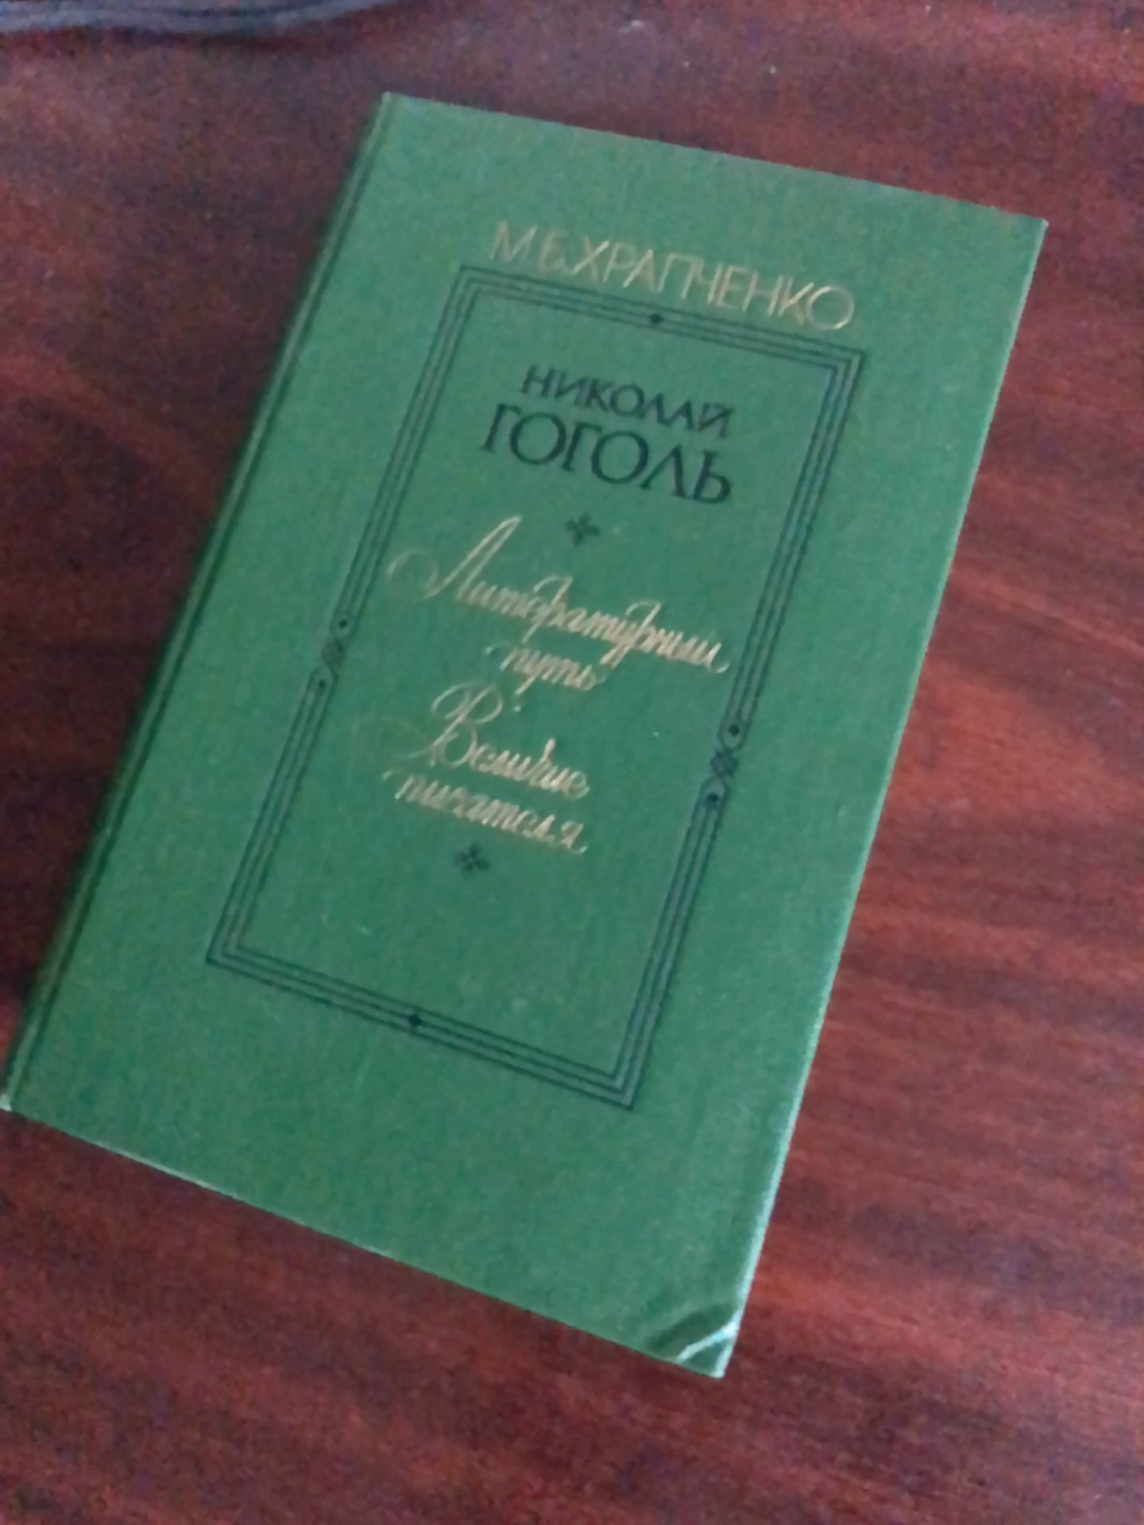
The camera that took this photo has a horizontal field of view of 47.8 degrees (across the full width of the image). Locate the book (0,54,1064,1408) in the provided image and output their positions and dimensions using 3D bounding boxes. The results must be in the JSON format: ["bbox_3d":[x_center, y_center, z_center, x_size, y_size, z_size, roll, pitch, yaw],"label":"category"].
[{"bbox_3d":[-0.004,-0.016,0.239,0.129,0.050,0.206,16,79,11],"label":"book"}]
